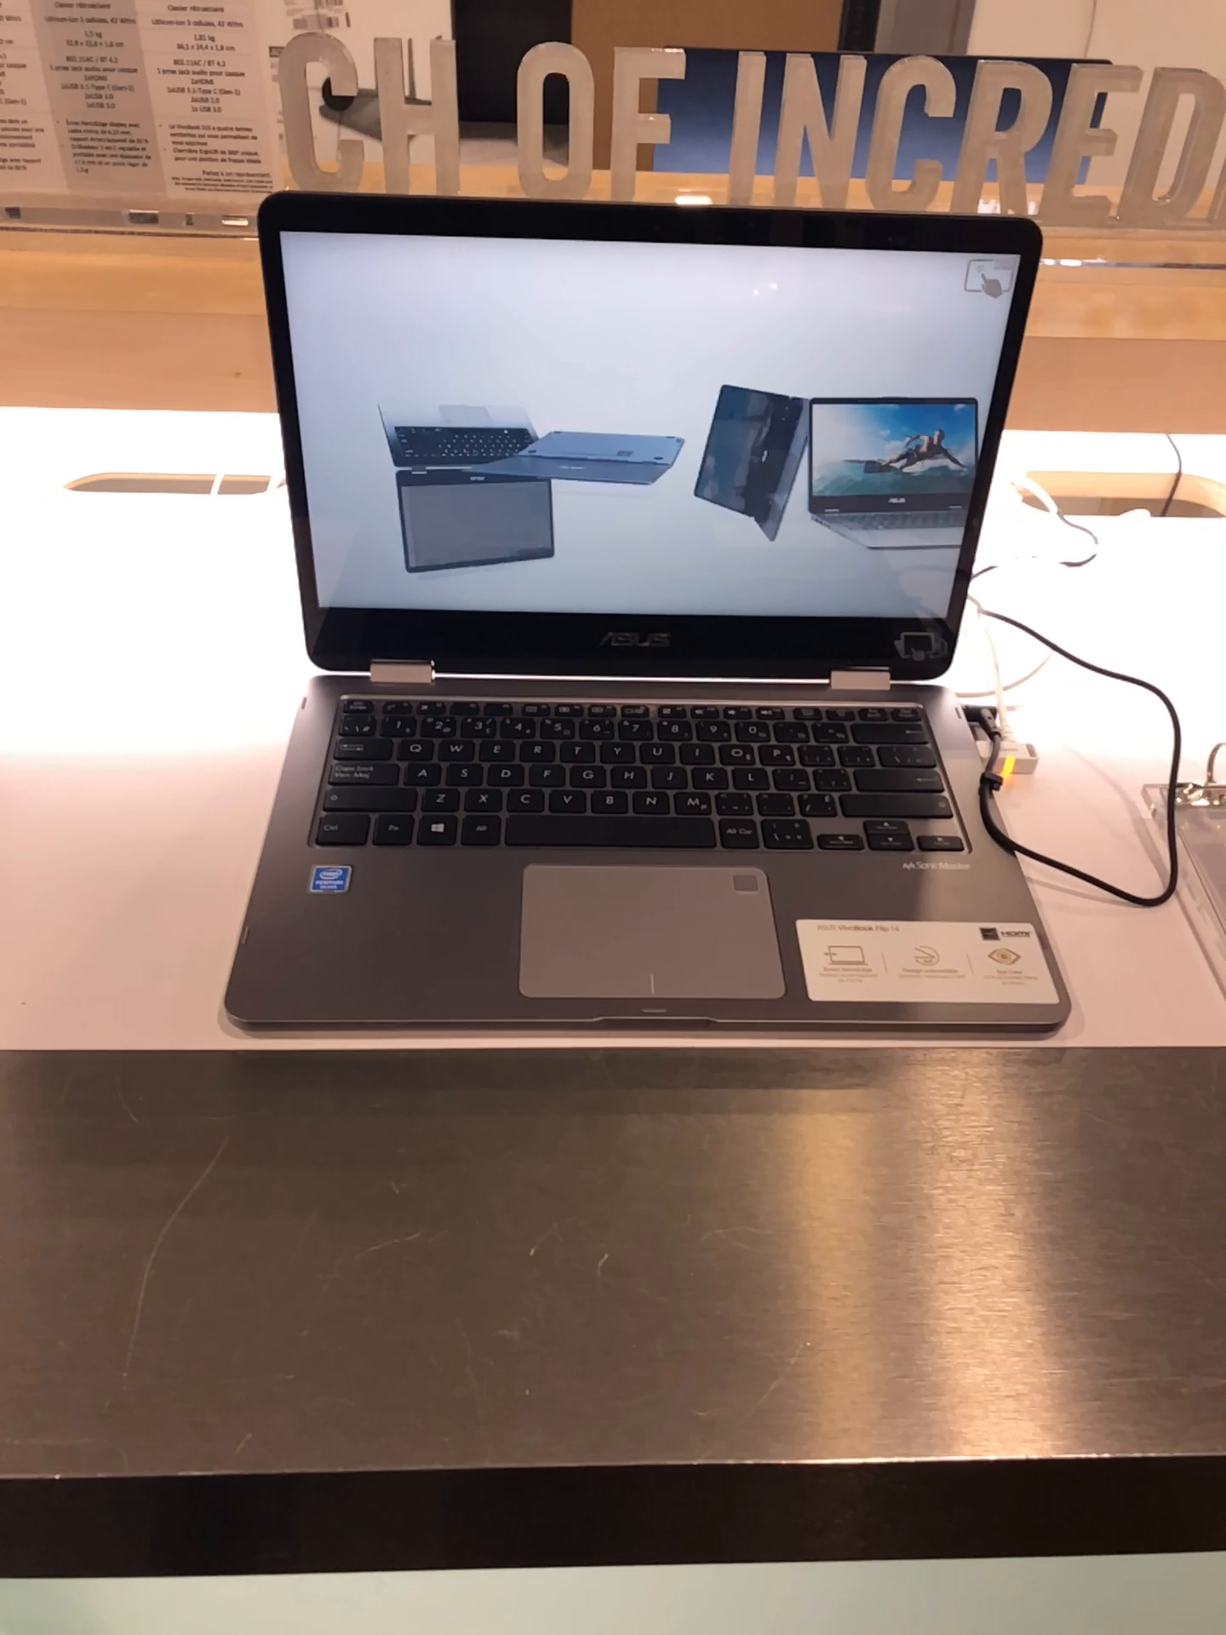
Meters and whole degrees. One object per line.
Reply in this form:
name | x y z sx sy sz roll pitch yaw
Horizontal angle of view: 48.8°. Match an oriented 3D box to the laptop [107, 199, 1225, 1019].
laptop | 0.016 -0.078 0.496 0.303 0.210 0.211 1 41 -2
